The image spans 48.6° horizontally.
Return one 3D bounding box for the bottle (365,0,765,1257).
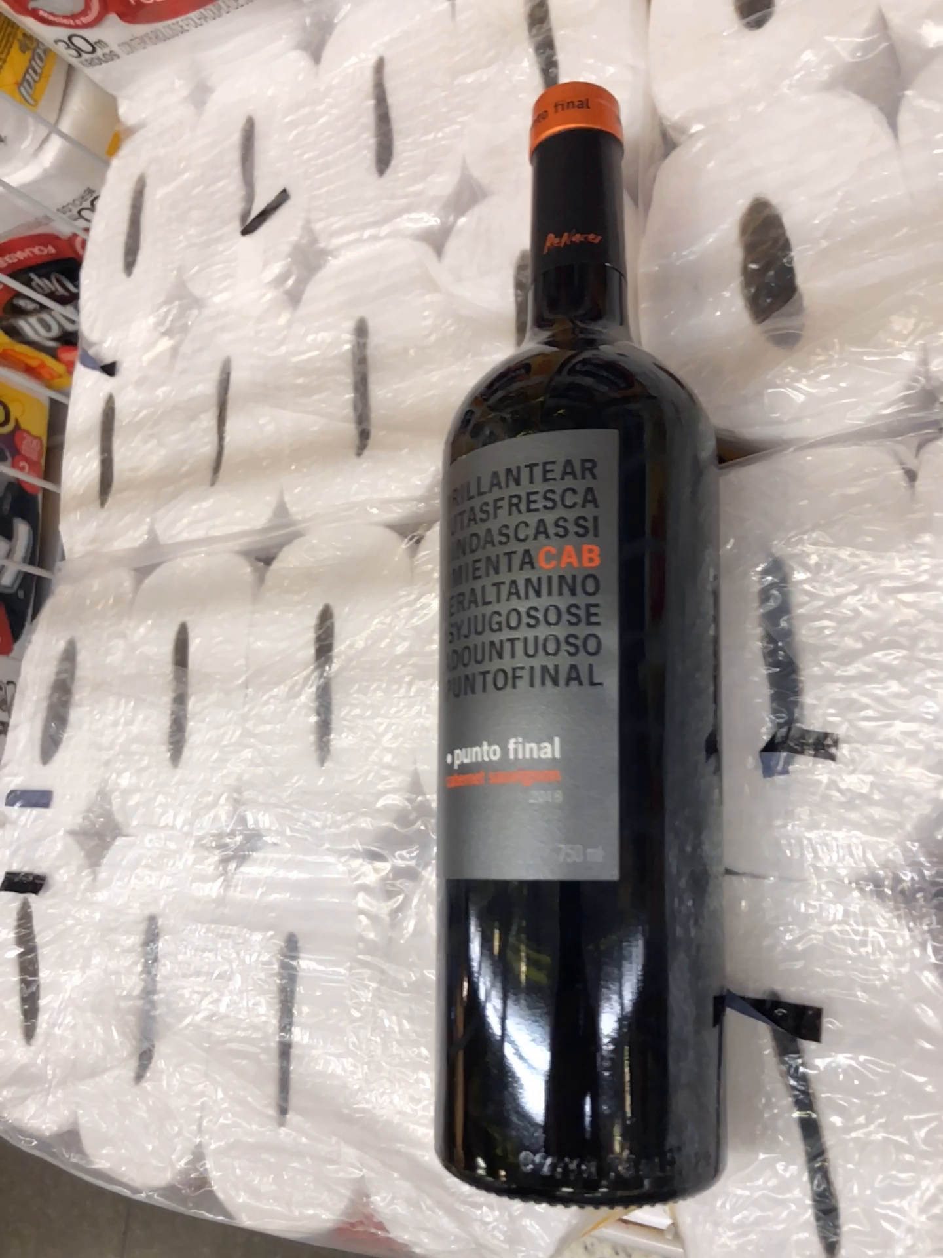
[{"bbox_3d":[0.027,-0.022,0.276,0.070,0.060,0.310,-7,72,32],"label":"bottle"}]
